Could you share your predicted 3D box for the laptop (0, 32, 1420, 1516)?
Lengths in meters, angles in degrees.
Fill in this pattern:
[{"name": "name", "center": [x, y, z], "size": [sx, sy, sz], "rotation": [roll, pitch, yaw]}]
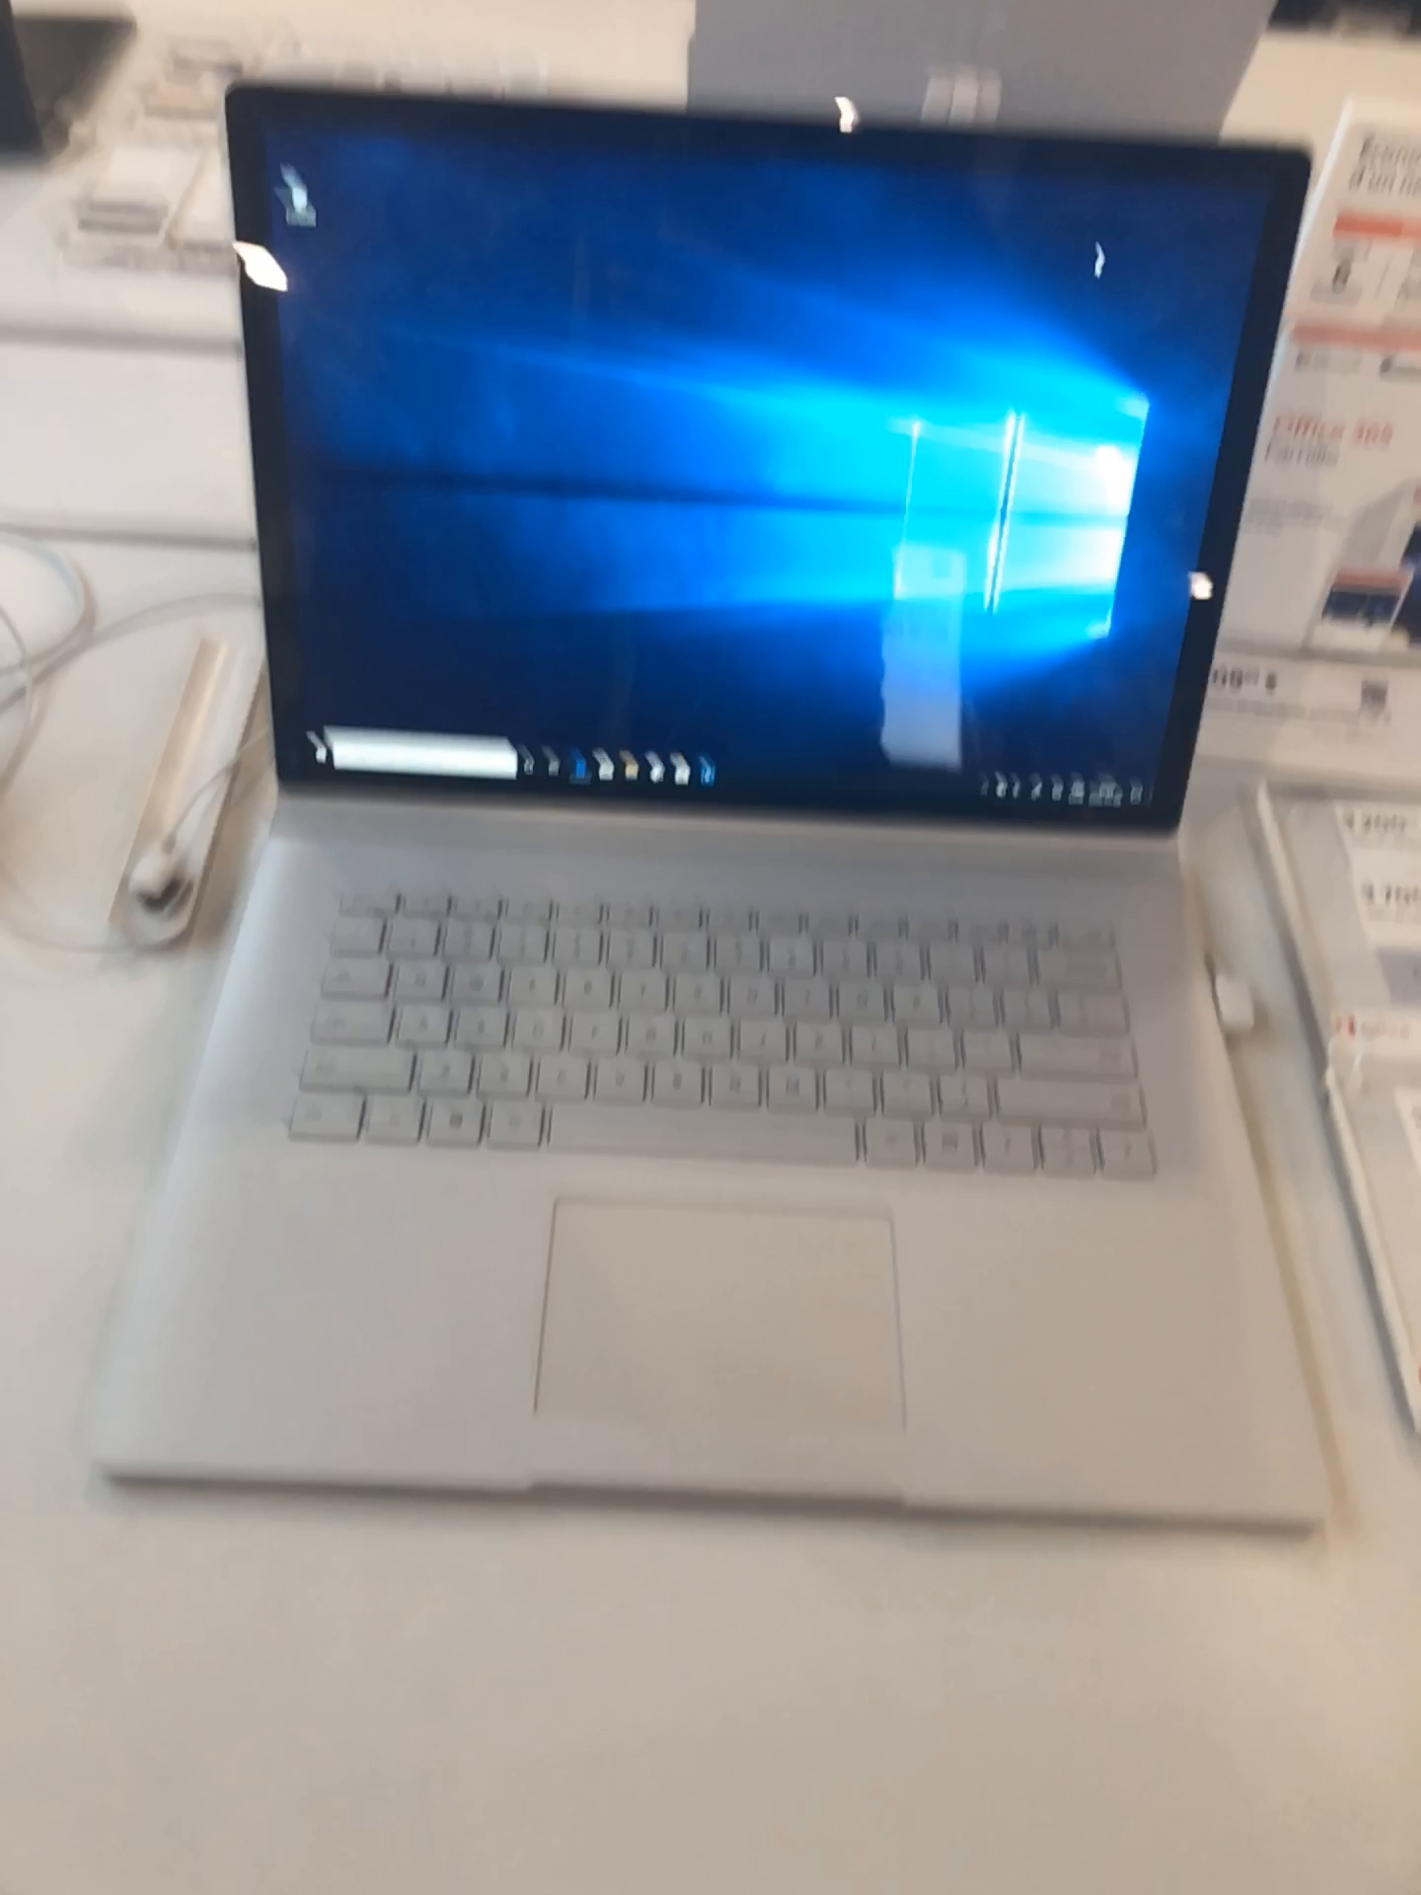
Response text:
[{"name": "laptop", "center": [0.009, -0.064, 0.467], "size": [0.338, 0.207, 0.366], "rotation": [3, 52, -2]}]
